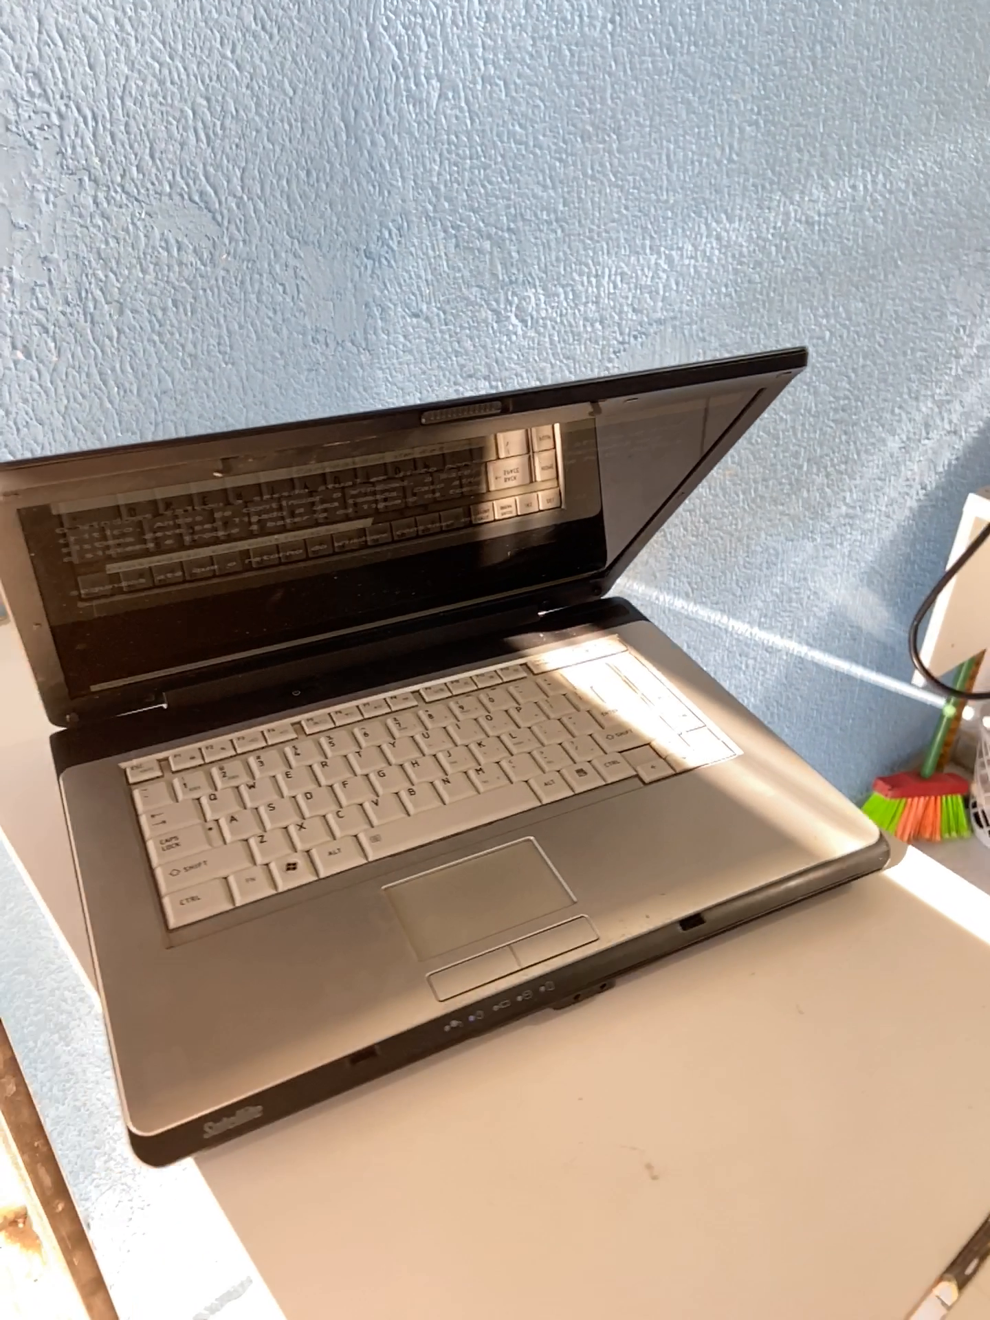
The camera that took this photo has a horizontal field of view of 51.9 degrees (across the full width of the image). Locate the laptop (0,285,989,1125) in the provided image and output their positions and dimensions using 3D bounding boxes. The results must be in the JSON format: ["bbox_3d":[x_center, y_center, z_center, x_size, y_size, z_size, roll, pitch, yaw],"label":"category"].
[{"bbox_3d":[-0.021,-0.021,0.465,0.352,0.202,0.247,-14,37,-22],"label":"laptop"}]
